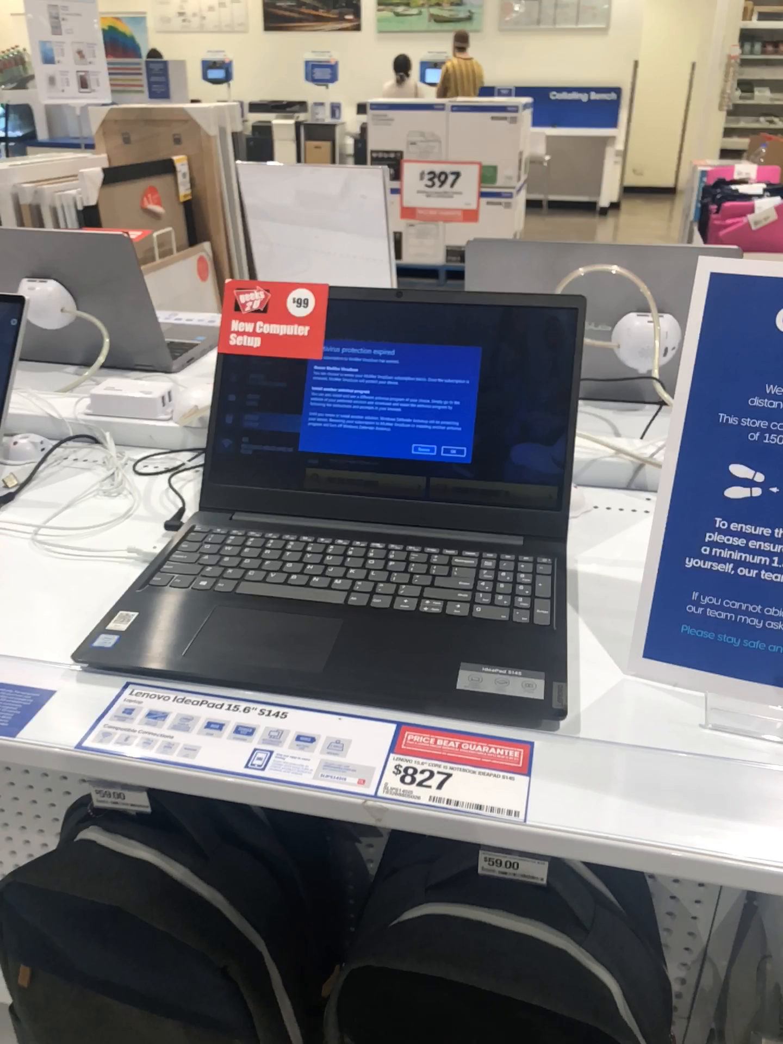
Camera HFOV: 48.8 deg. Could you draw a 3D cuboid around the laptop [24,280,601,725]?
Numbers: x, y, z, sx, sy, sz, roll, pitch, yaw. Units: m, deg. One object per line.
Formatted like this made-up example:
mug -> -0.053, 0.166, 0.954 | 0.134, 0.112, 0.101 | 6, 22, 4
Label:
laptop -> -0.023, -0.054, 0.713 | 0.353, 0.192, 0.370 | 5, 28, 10
